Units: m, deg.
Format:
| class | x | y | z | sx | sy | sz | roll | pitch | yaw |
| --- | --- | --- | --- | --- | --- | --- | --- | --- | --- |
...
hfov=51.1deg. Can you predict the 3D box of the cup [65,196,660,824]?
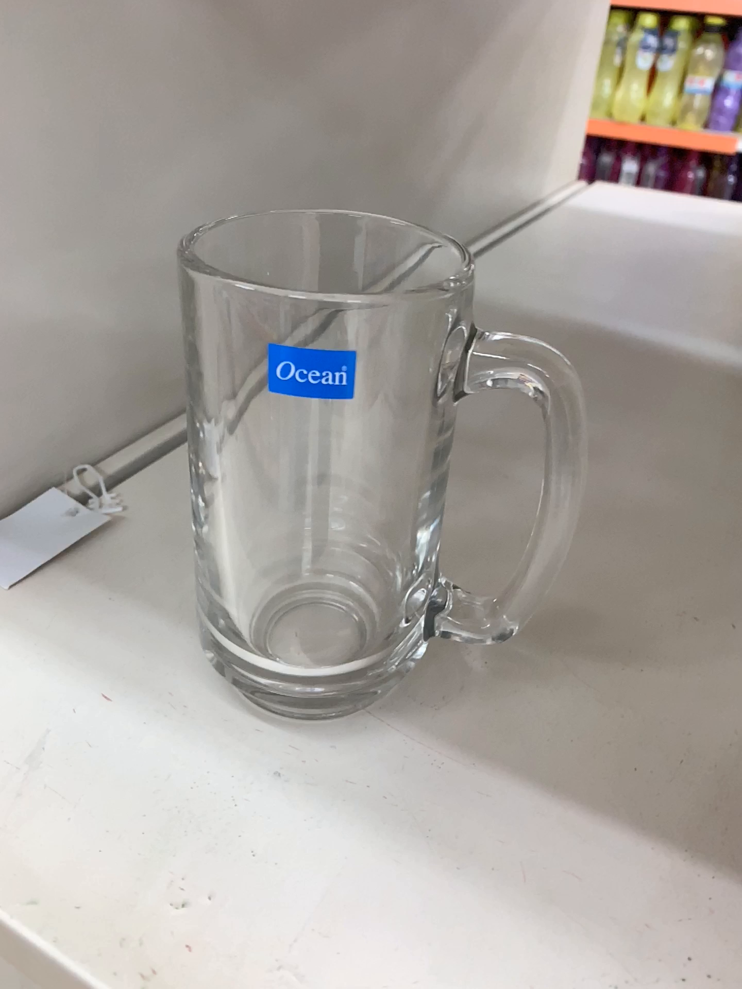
| class | x | y | z | sx | sy | sz | roll | pitch | yaw |
| --- | --- | --- | --- | --- | --- | --- | --- | --- | --- |
| cup | 0.001 | -0.001 | 0.219 | 0.120 | 0.129 | 0.081 | 14 | 34 | 17 |
